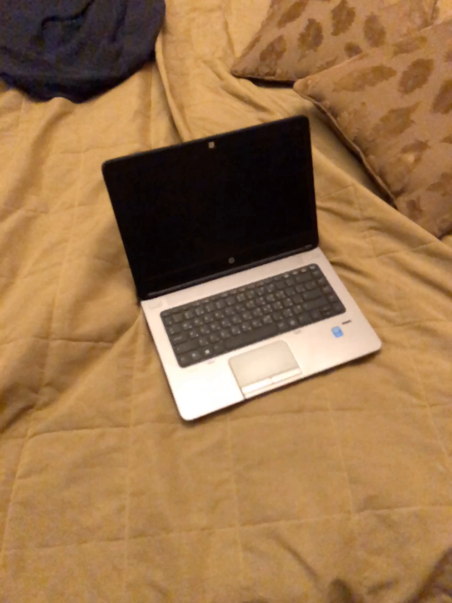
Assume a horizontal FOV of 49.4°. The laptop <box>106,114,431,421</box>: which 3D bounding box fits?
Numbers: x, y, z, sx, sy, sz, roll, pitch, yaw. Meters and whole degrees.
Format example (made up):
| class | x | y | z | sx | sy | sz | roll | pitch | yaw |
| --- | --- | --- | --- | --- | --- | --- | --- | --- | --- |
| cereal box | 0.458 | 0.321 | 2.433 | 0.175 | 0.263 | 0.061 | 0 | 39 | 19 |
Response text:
| class | x | y | z | sx | sy | sz | roll | pitch | yaw |
| --- | --- | --- | --- | --- | --- | --- | --- | --- | --- |
| laptop | 0.038 | -0.065 | 0.745 | 0.332 | 0.189 | 0.339 | -18 | 59 | -13 |
